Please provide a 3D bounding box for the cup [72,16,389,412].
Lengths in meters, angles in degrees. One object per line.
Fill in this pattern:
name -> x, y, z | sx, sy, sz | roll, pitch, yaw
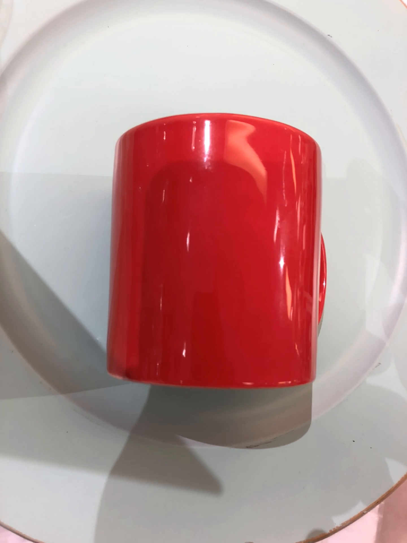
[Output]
cup -> 0.017, -0.010, 0.173 | 0.110, 0.060, 0.100 | 7, 80, -47
